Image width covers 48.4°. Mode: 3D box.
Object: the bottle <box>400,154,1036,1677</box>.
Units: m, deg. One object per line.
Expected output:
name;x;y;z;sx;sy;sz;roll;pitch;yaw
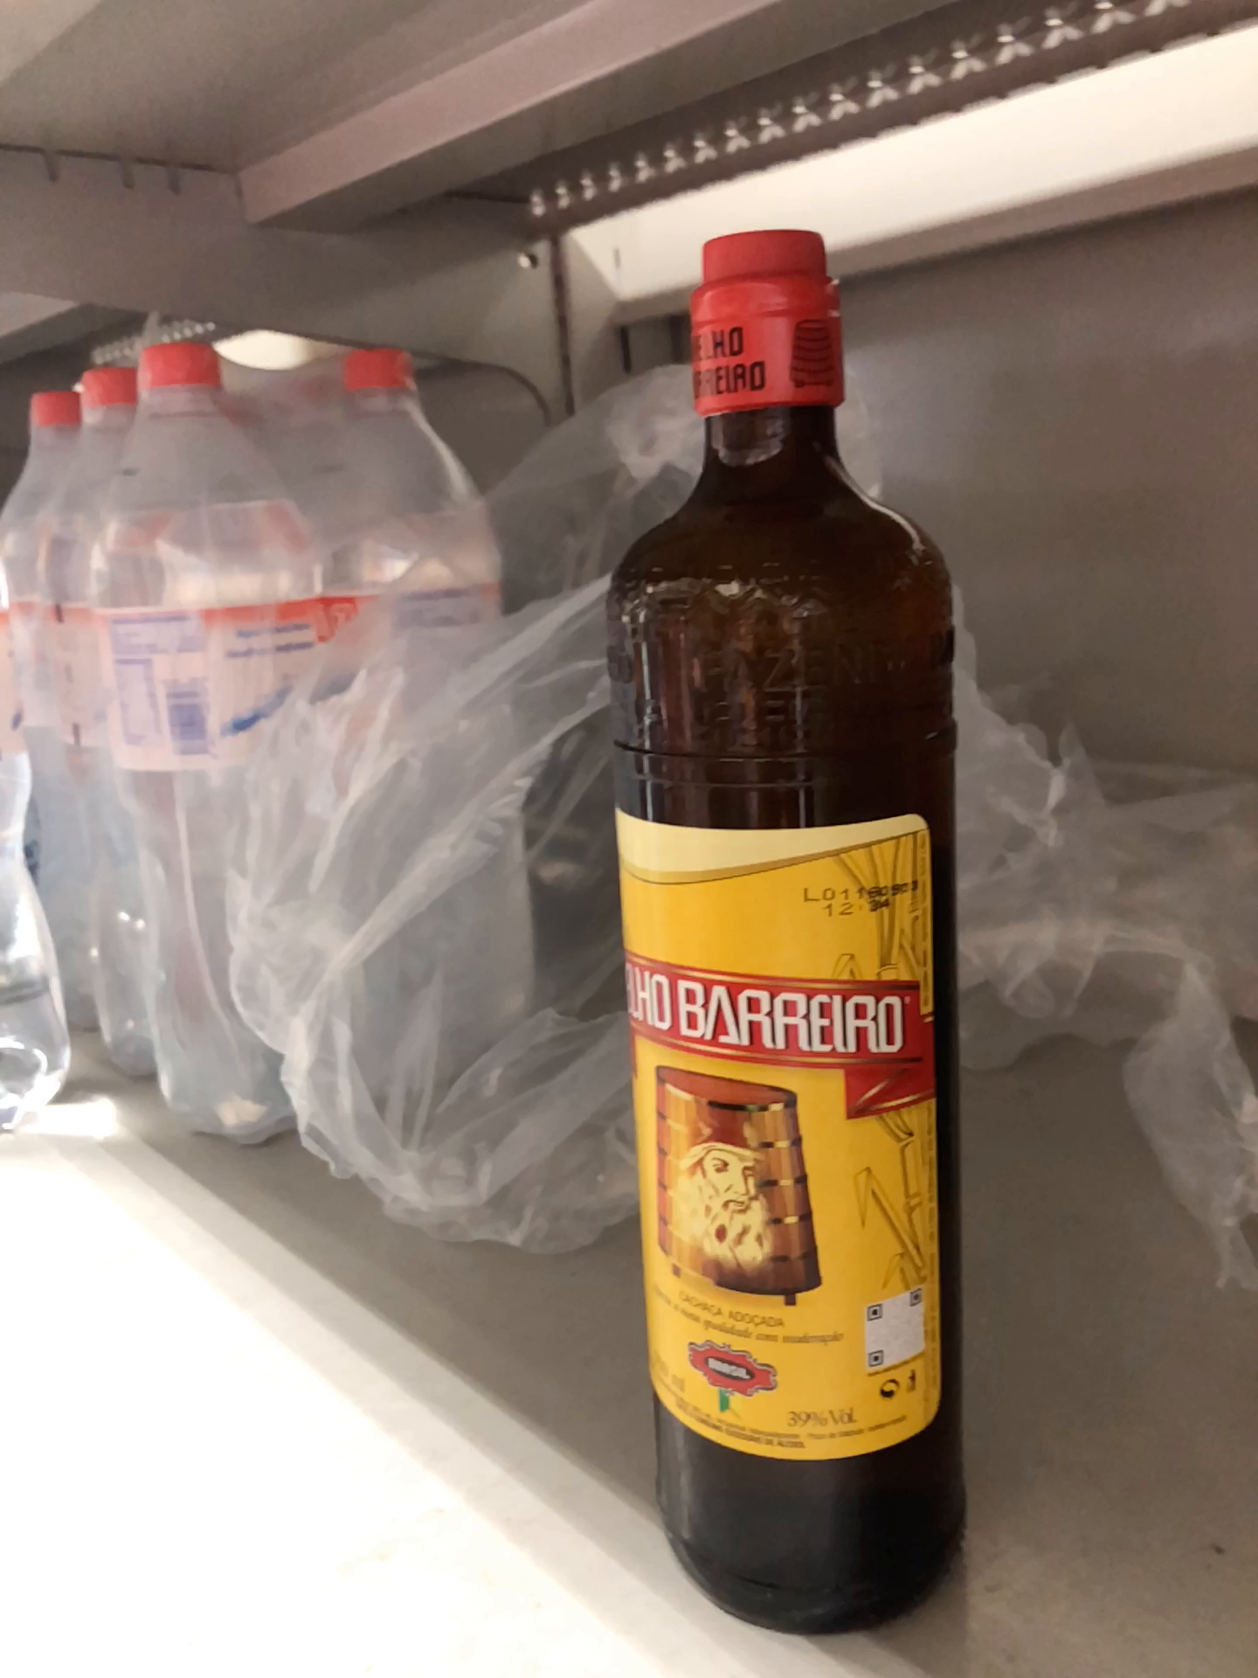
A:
bottle;0.029;0.024;0.313;0.090;0.299;0.080;3;15;34
